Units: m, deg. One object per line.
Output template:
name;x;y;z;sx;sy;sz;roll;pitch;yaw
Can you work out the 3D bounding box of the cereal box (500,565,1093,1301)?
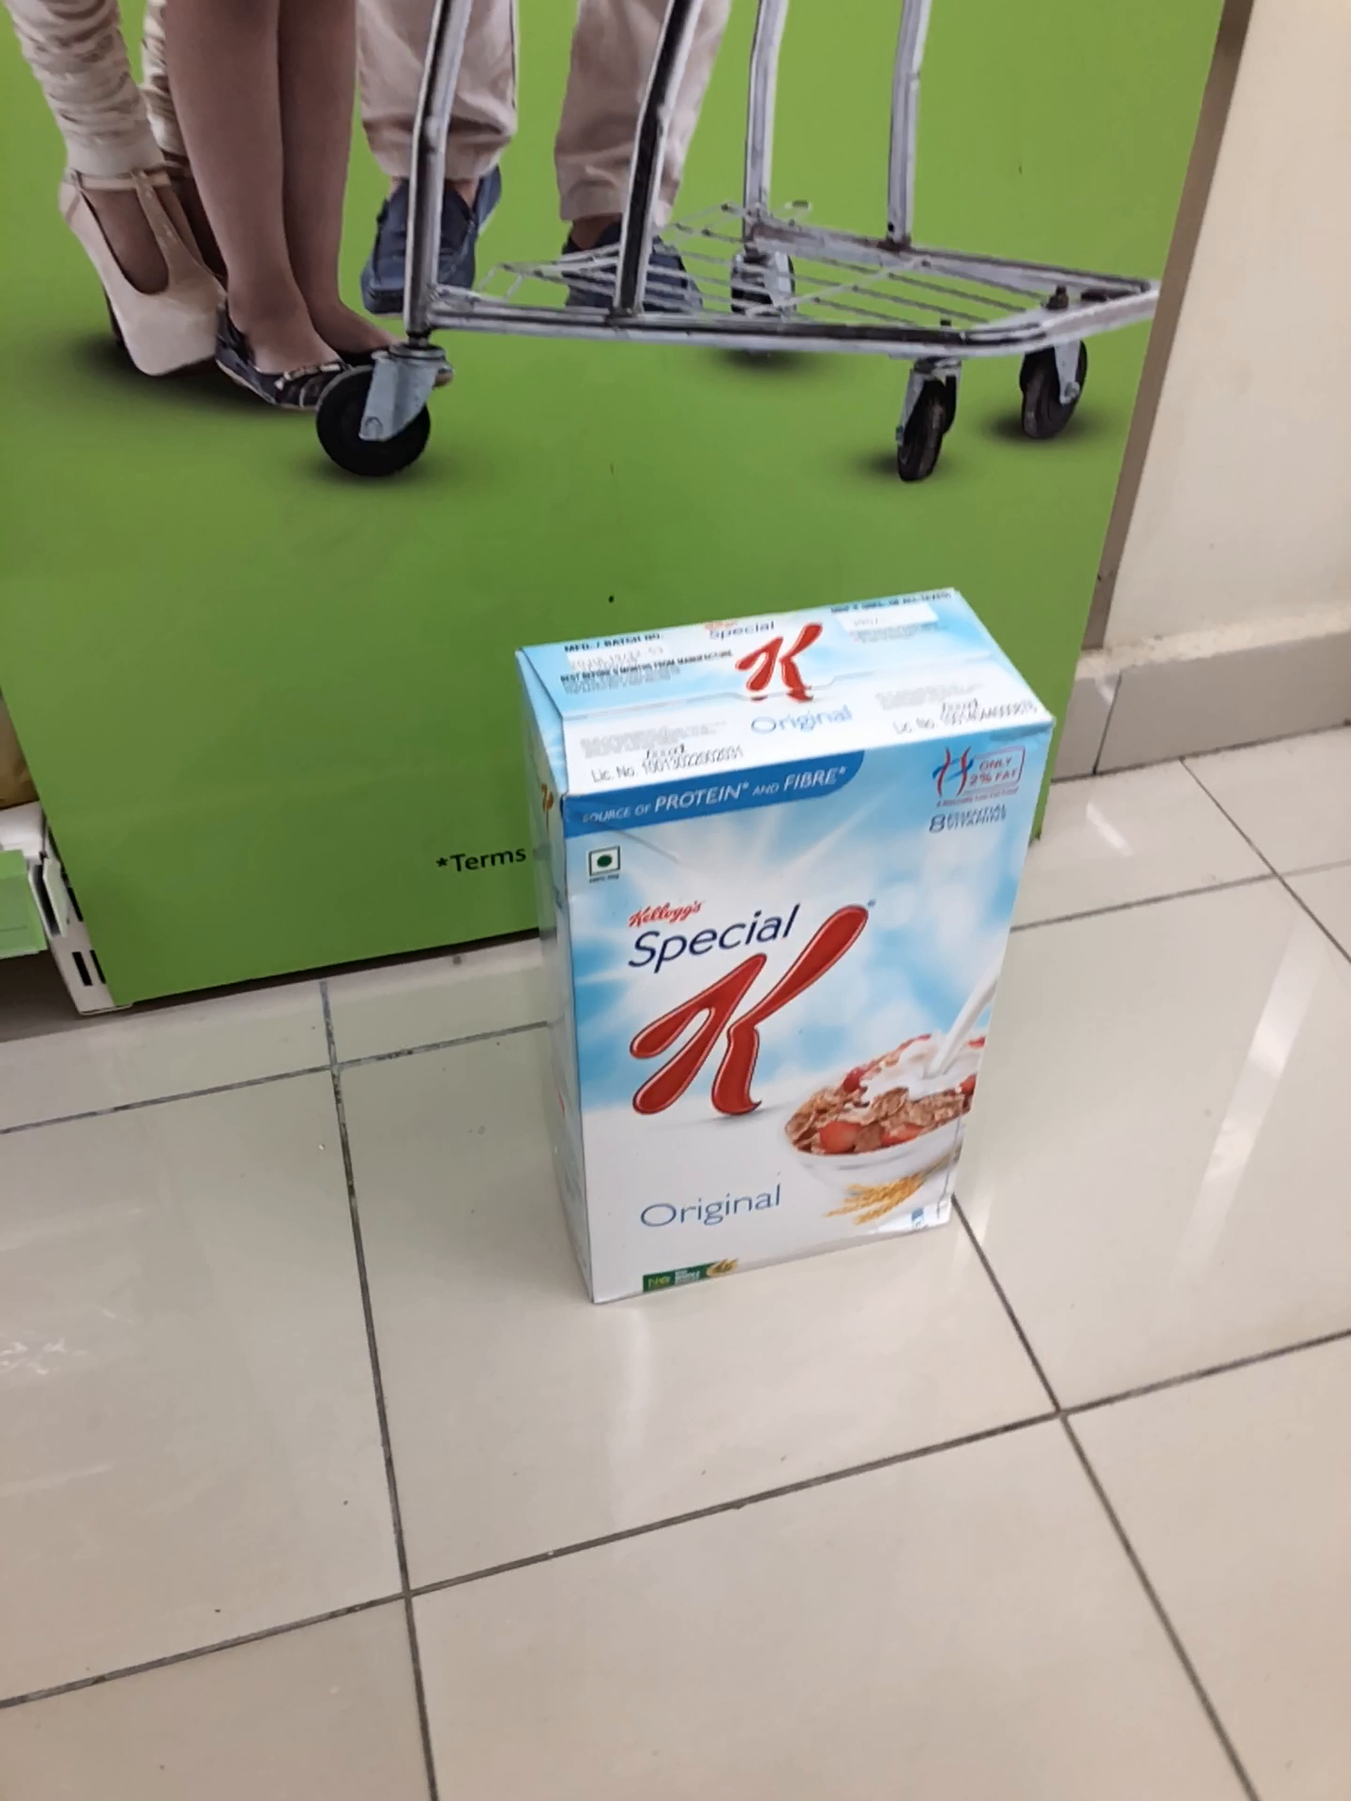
cereal box;0.041;0.026;0.660;0.200;0.308;0.101;-10;43;-12
